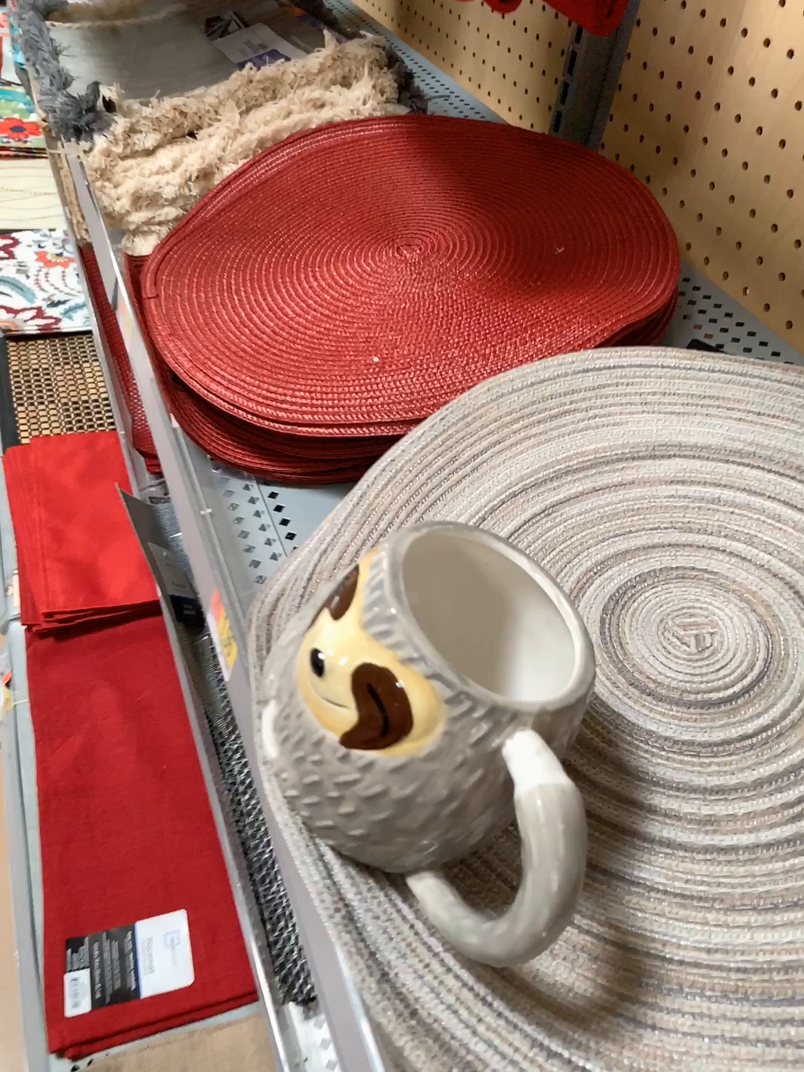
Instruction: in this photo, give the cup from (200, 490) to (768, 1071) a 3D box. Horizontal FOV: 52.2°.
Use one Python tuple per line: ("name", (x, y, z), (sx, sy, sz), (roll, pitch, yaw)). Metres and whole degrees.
("cup", (0.013, 0.070, 0.274), (0.106, 0.089, 0.151), (0, 46, -34))
